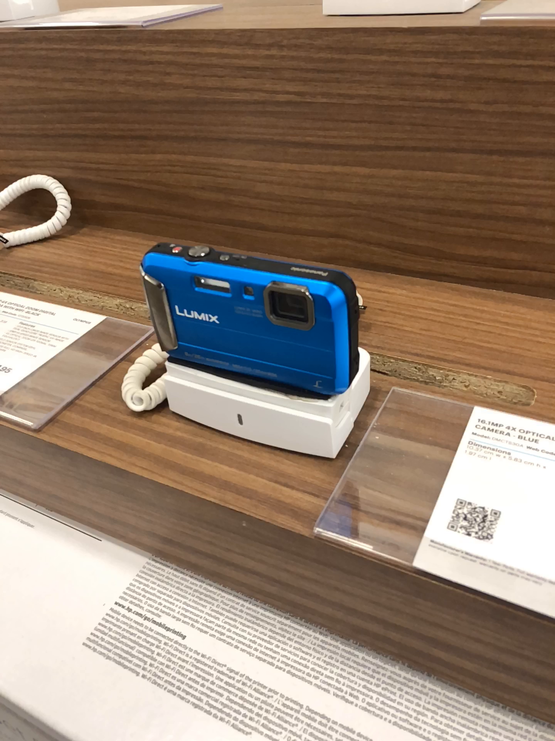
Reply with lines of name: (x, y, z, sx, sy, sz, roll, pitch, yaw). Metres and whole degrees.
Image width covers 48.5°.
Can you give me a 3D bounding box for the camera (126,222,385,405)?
camera: (-0.009, -0.026, 0.269, 0.110, 0.060, 0.020, 13, 42, 24)
